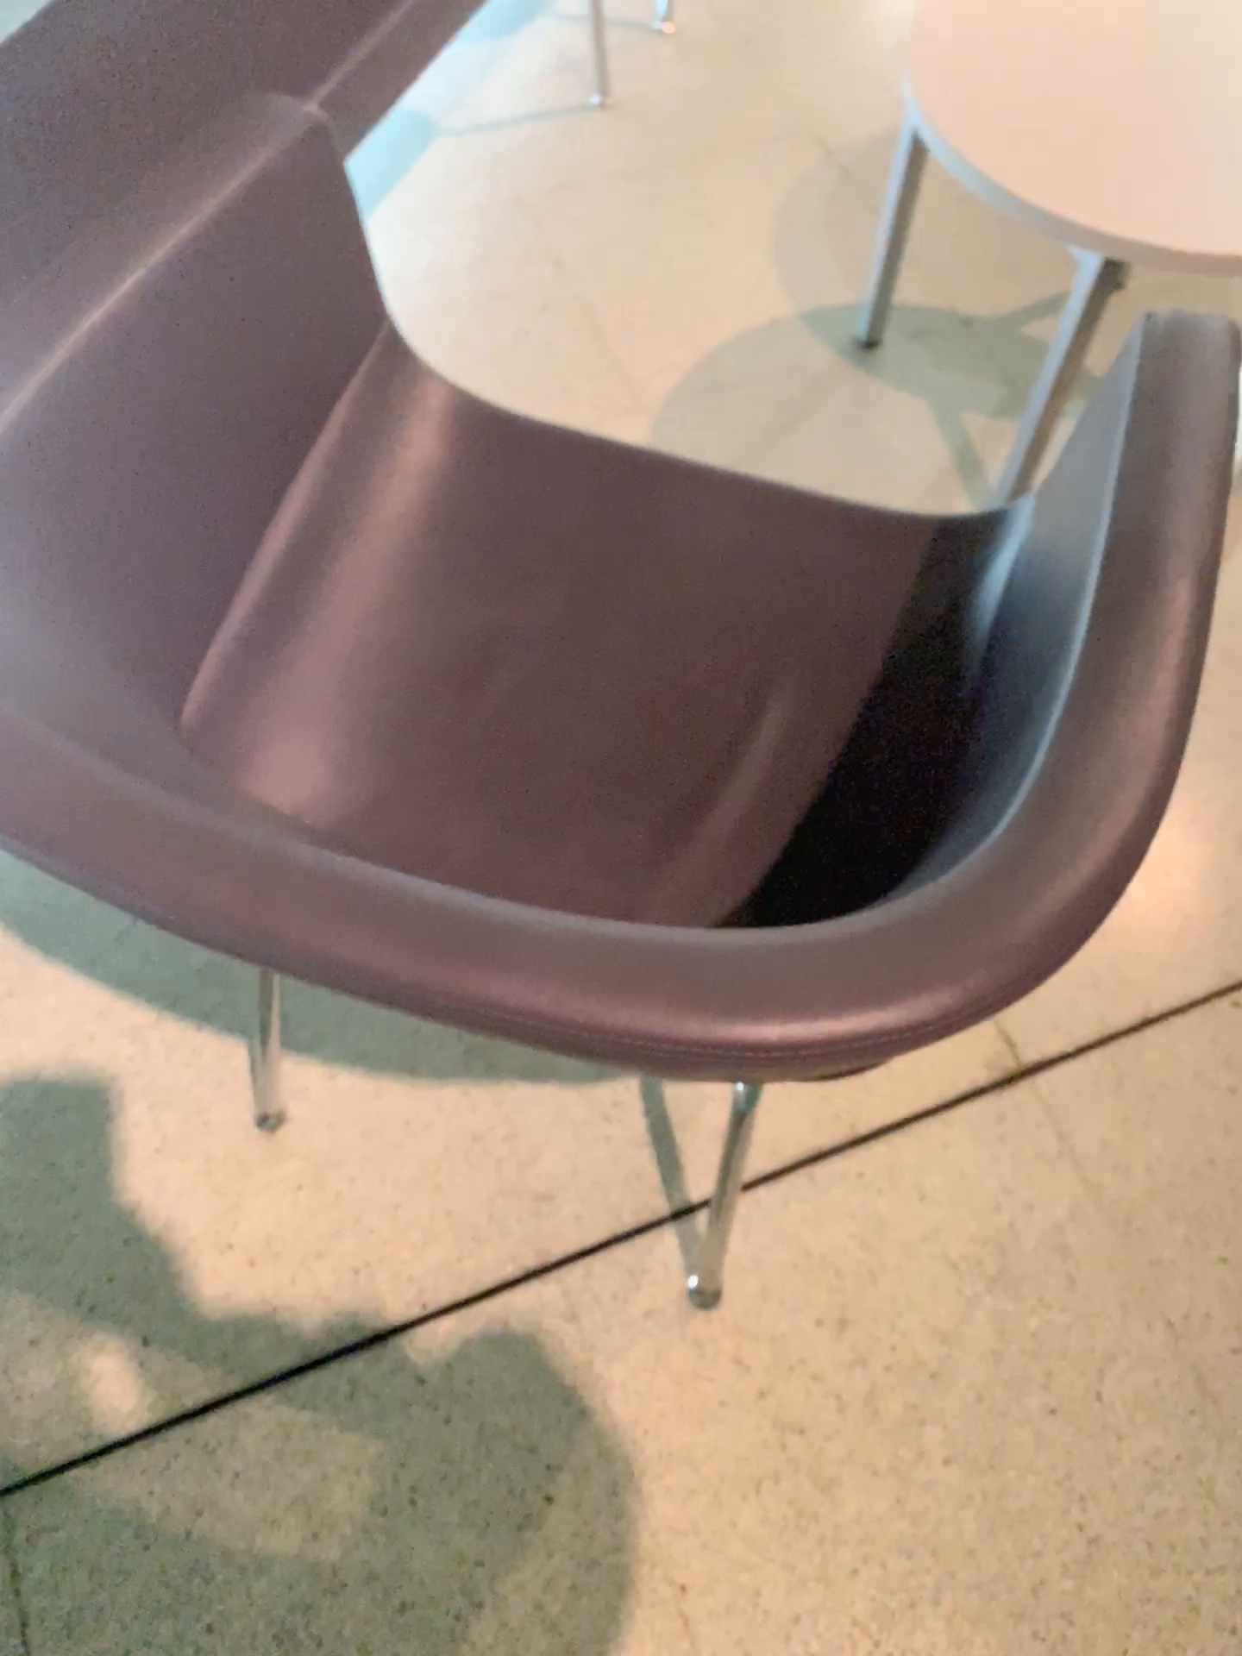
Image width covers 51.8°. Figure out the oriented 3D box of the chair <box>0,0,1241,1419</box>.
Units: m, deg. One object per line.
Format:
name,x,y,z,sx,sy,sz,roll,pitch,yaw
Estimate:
chair,-0.058,-0.106,1.011,0.731,0.715,0.754,20,61,11
